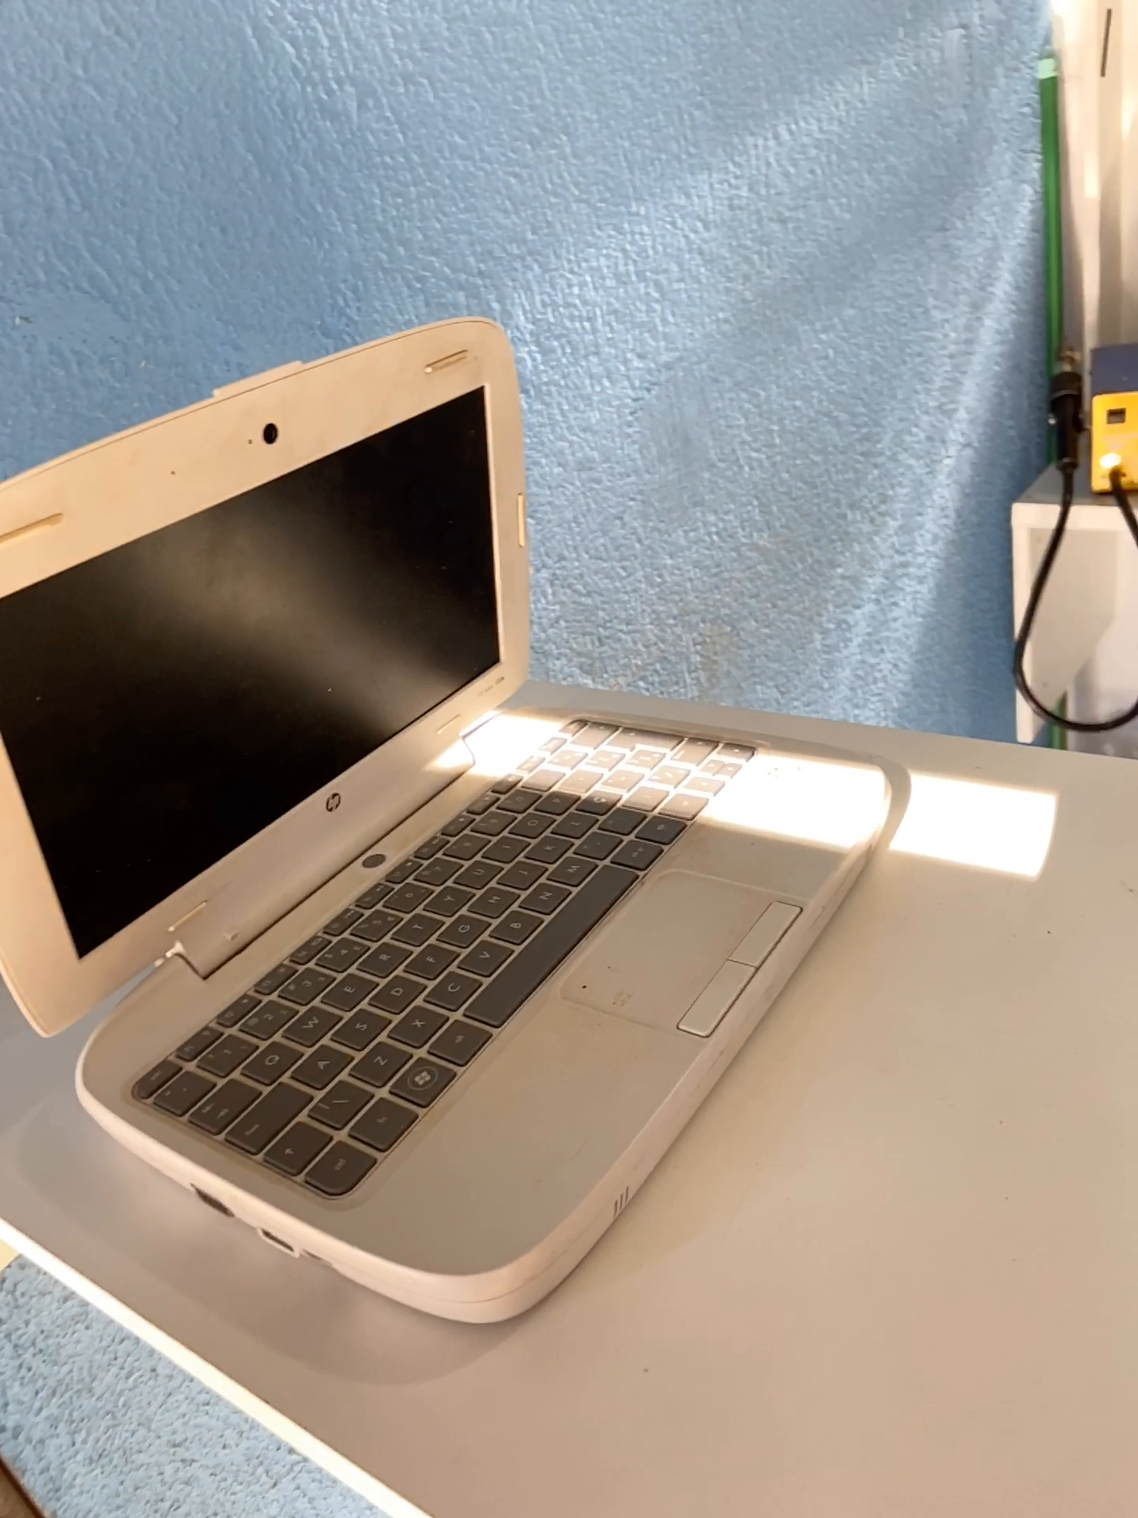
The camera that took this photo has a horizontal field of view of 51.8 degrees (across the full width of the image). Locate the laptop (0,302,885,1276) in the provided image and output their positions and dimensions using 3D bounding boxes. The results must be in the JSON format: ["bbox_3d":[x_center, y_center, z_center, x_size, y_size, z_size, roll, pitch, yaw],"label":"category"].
[{"bbox_3d":[-0.038,-0.022,0.383,0.177,0.172,0.248,10,36,35],"label":"laptop"}]
